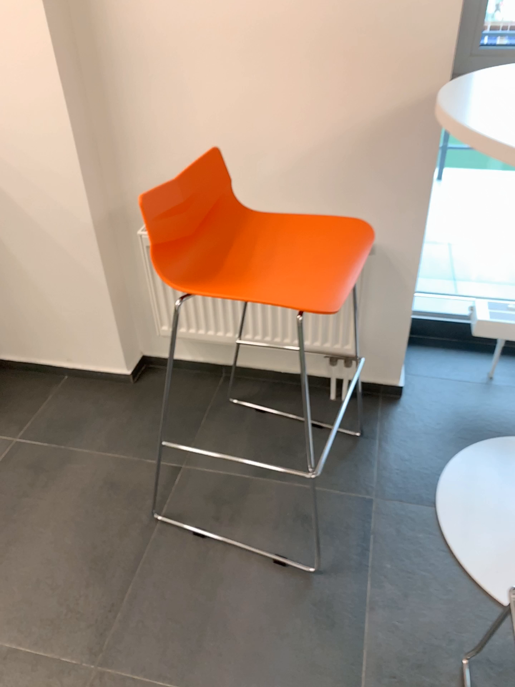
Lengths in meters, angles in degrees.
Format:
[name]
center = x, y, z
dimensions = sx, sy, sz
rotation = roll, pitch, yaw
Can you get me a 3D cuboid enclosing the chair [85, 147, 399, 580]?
[chair]
center = 0.016, 0.041, 1.413
dimensions = 0.500, 0.905, 0.573
rotation = 12, 38, 18
